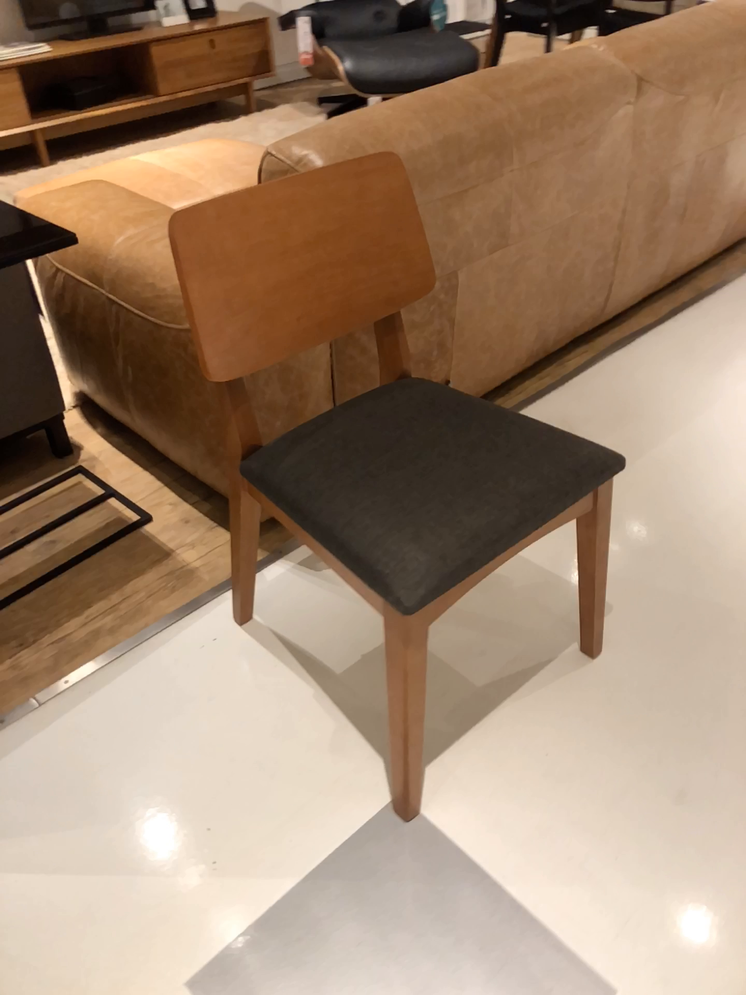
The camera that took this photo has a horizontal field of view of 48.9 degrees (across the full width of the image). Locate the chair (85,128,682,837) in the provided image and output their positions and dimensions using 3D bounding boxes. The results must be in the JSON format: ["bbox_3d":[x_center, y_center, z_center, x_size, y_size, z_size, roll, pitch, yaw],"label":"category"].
[{"bbox_3d":[0.012,-0.042,1.251,0.482,0.794,0.562,-31,46,-31],"label":"chair"}]
